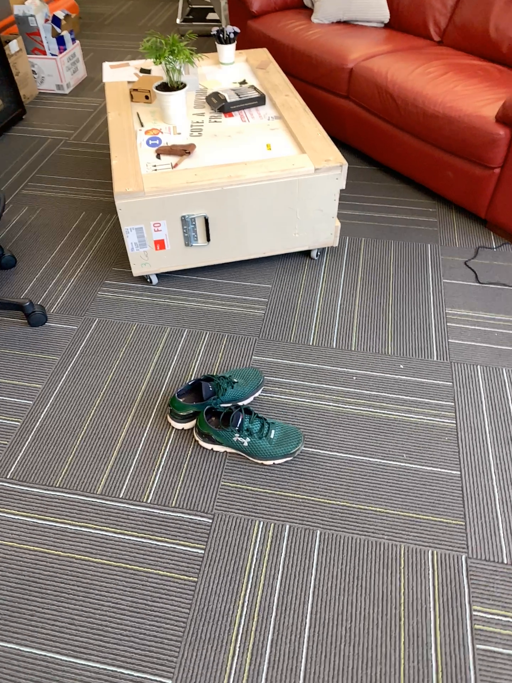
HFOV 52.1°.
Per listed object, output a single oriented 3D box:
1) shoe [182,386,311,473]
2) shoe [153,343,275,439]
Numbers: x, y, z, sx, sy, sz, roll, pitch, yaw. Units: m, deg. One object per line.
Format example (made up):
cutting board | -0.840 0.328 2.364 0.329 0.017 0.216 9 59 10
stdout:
shoe | -0.021 0.232 1.385 0.310 0.119 0.121 10 48 11
shoe | -0.112 0.133 1.460 0.310 0.109 0.121 -22 50 -18
